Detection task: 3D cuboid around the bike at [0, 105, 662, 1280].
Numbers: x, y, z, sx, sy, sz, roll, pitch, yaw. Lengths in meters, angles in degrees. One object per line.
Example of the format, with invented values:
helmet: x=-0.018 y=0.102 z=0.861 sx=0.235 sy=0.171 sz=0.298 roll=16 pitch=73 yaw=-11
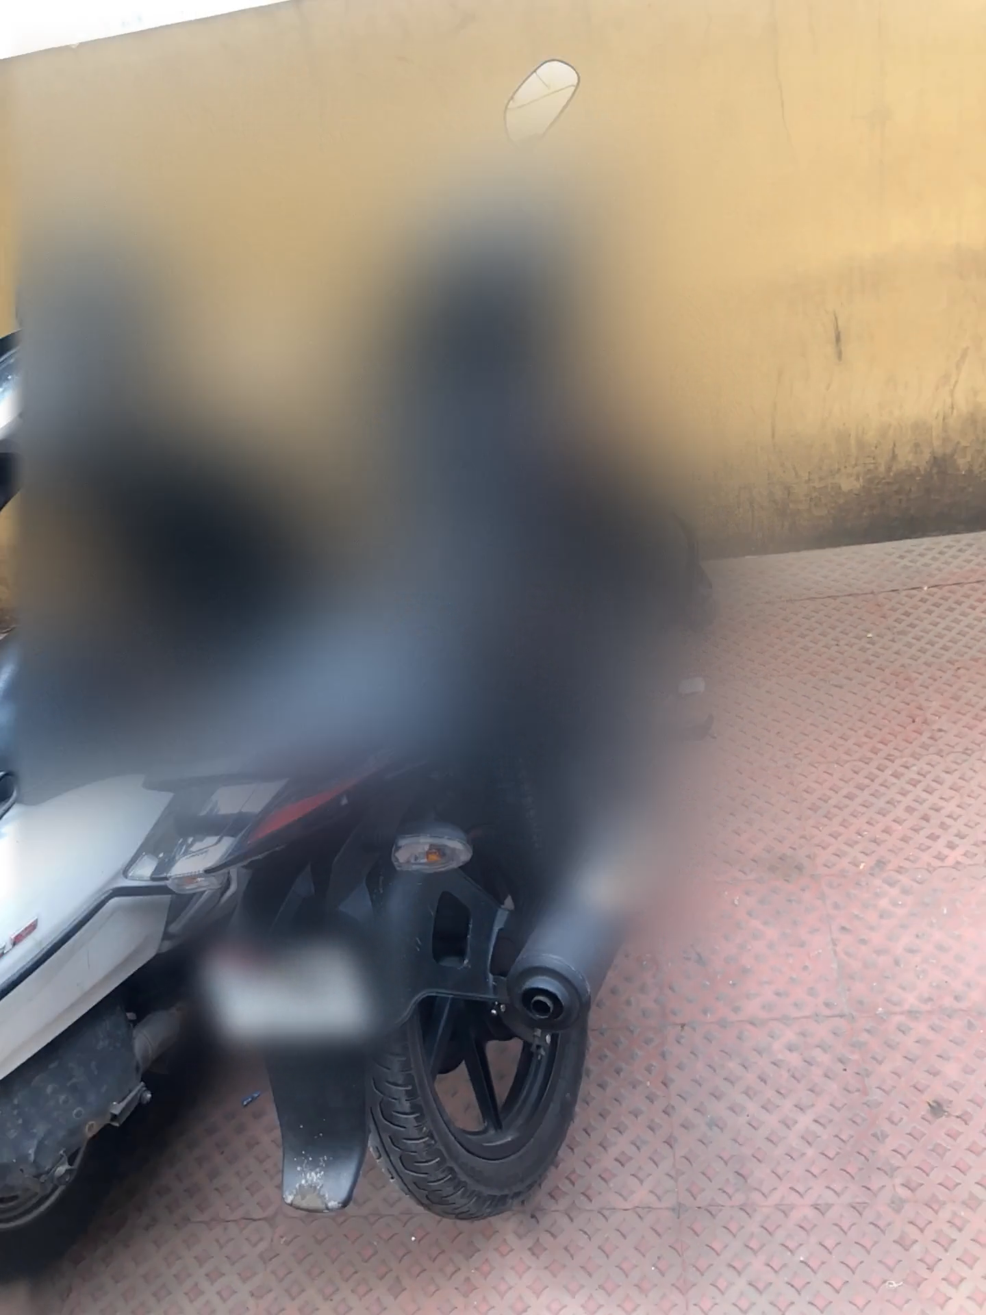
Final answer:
bike: x=-0.186 y=-0.118 z=1.833 sx=0.827 sy=1.057 sz=1.612 roll=-4 pitch=37 yaw=12
